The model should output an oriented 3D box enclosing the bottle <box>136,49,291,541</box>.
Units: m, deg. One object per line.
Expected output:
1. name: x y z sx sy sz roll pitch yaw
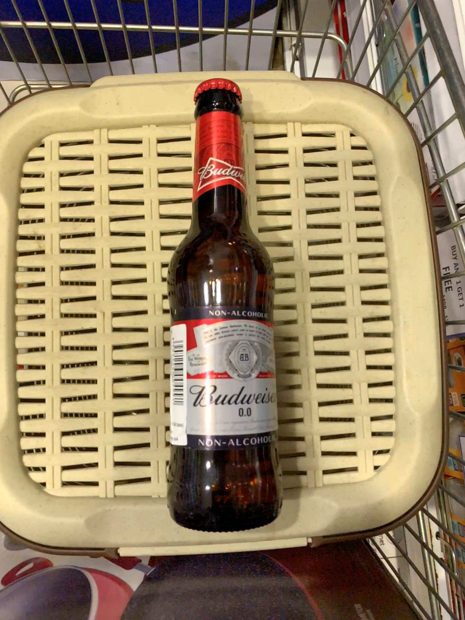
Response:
1. bottle: -0.015 -0.009 0.249 0.060 0.060 0.220 0 84 -19
